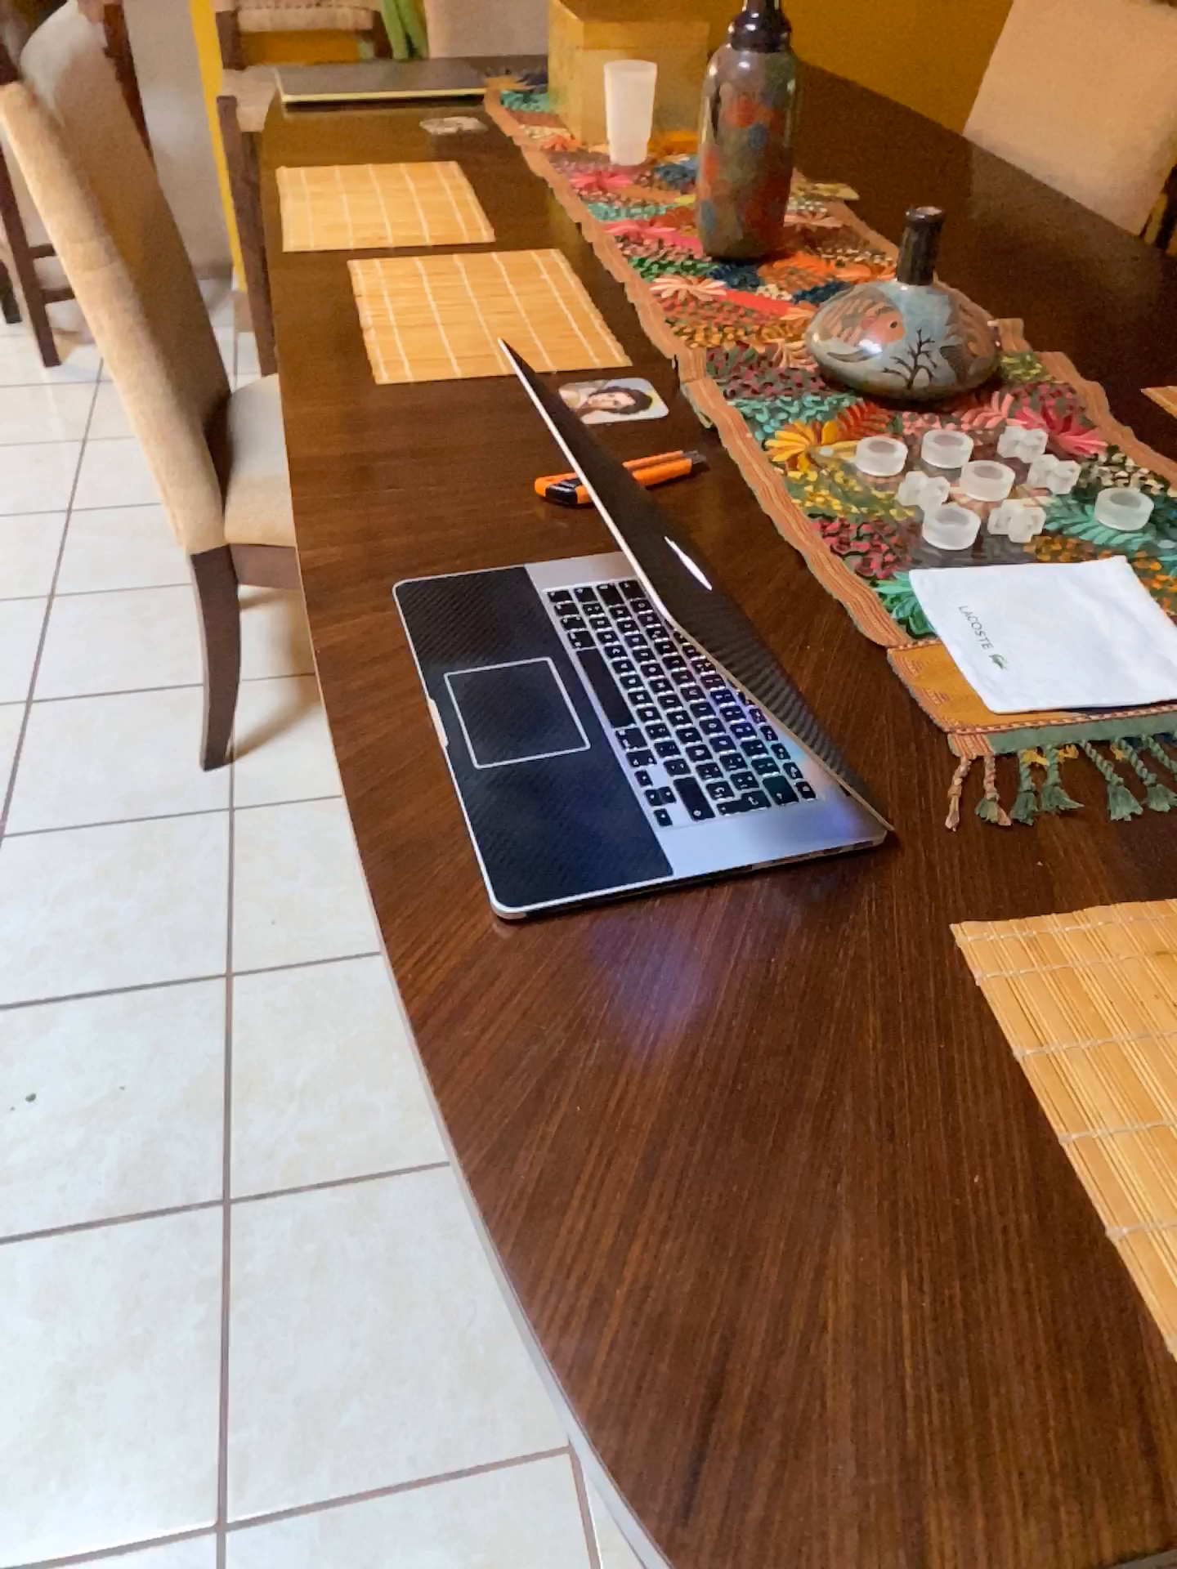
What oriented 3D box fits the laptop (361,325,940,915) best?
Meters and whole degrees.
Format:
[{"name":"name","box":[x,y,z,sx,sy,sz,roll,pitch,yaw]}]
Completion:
[{"name":"laptop","box":[0.010,-0.128,0.761,0.235,0.181,0.356,-10,42,-13]}]
